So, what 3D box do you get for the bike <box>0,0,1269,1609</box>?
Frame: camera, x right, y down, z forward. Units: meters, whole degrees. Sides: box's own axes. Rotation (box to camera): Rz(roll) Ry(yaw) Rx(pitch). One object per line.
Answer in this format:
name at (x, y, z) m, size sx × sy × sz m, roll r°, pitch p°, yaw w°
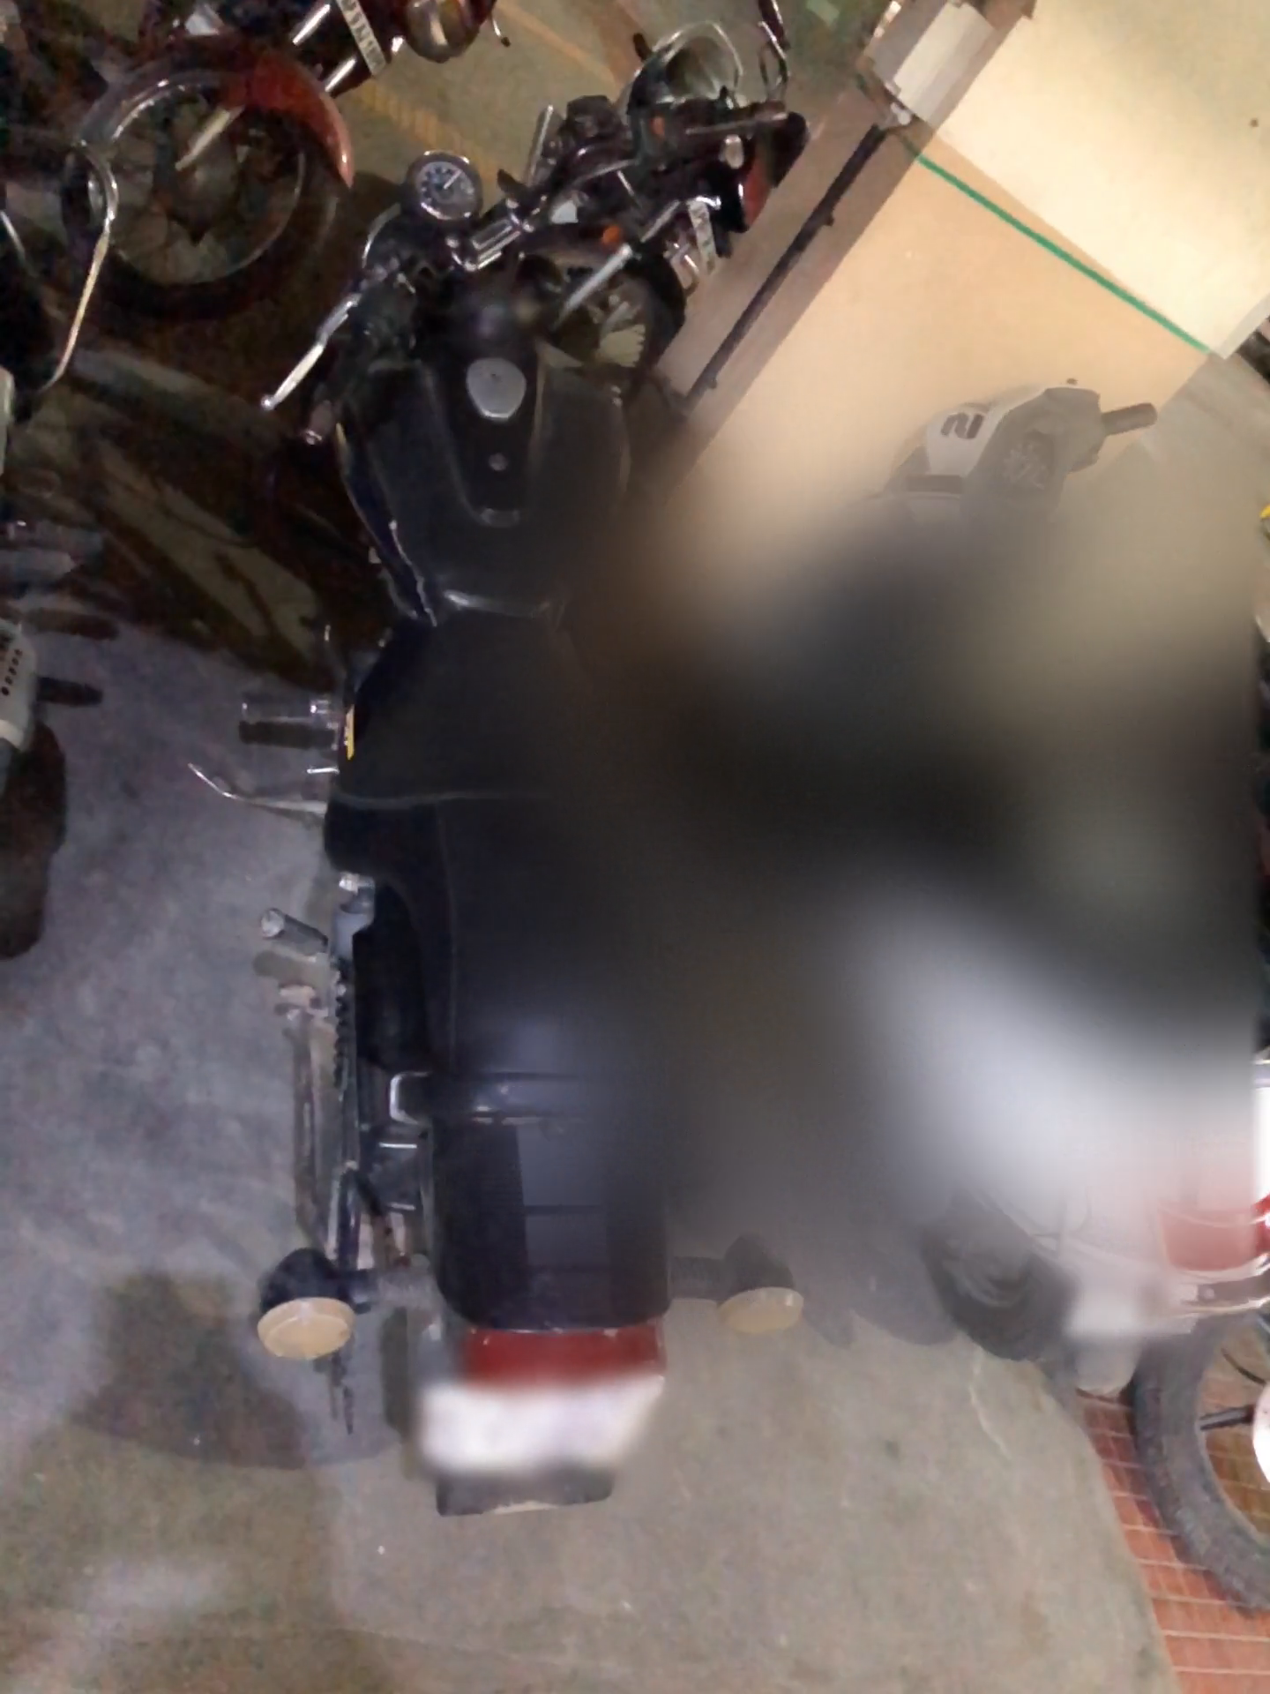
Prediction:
bike at (-0.281, -0.301, 1.573) m, size 0.864 × 1.252 × 1.674 m, roll 16°, pitch 42°, yaw -34°
